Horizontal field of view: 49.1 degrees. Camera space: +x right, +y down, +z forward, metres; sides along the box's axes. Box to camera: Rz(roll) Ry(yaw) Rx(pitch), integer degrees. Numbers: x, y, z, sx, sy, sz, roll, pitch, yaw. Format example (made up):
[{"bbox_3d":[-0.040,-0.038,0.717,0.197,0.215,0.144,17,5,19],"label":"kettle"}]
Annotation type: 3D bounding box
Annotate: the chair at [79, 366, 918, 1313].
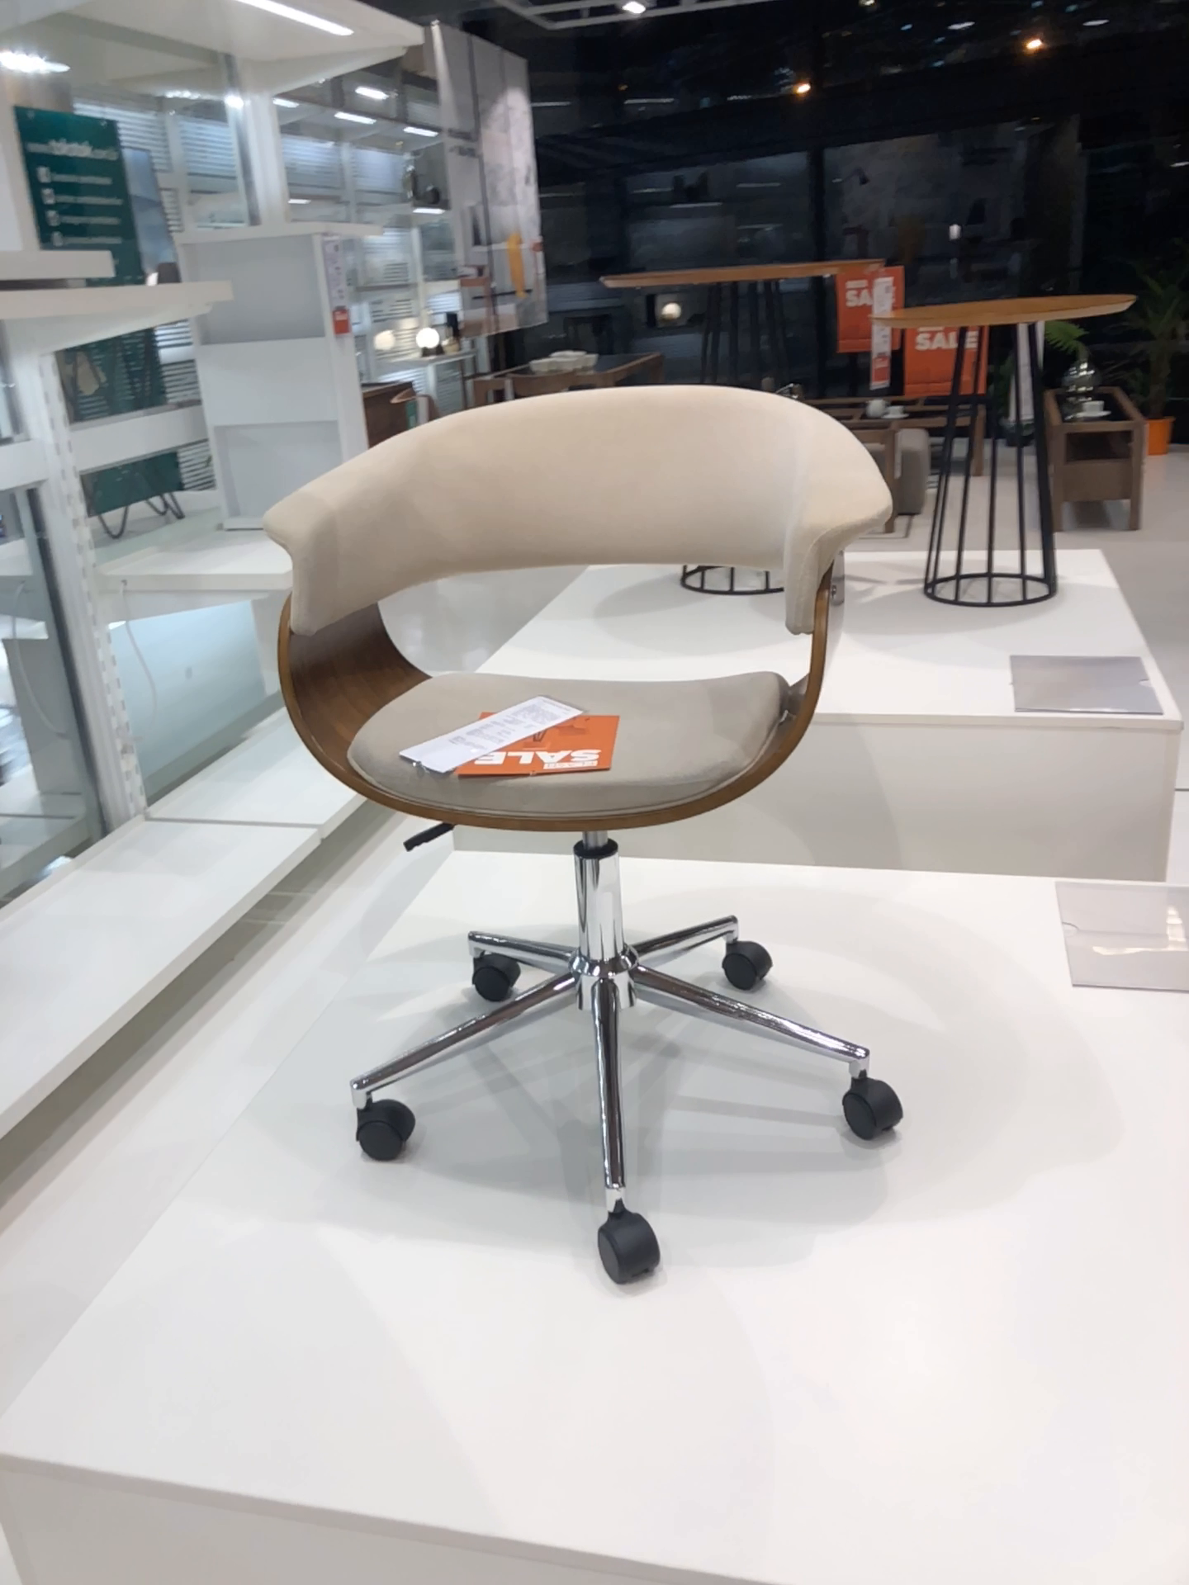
[{"bbox_3d":[0.008,-0.024,1.364,0.630,0.725,0.674,1,21,14],"label":"chair"}]
